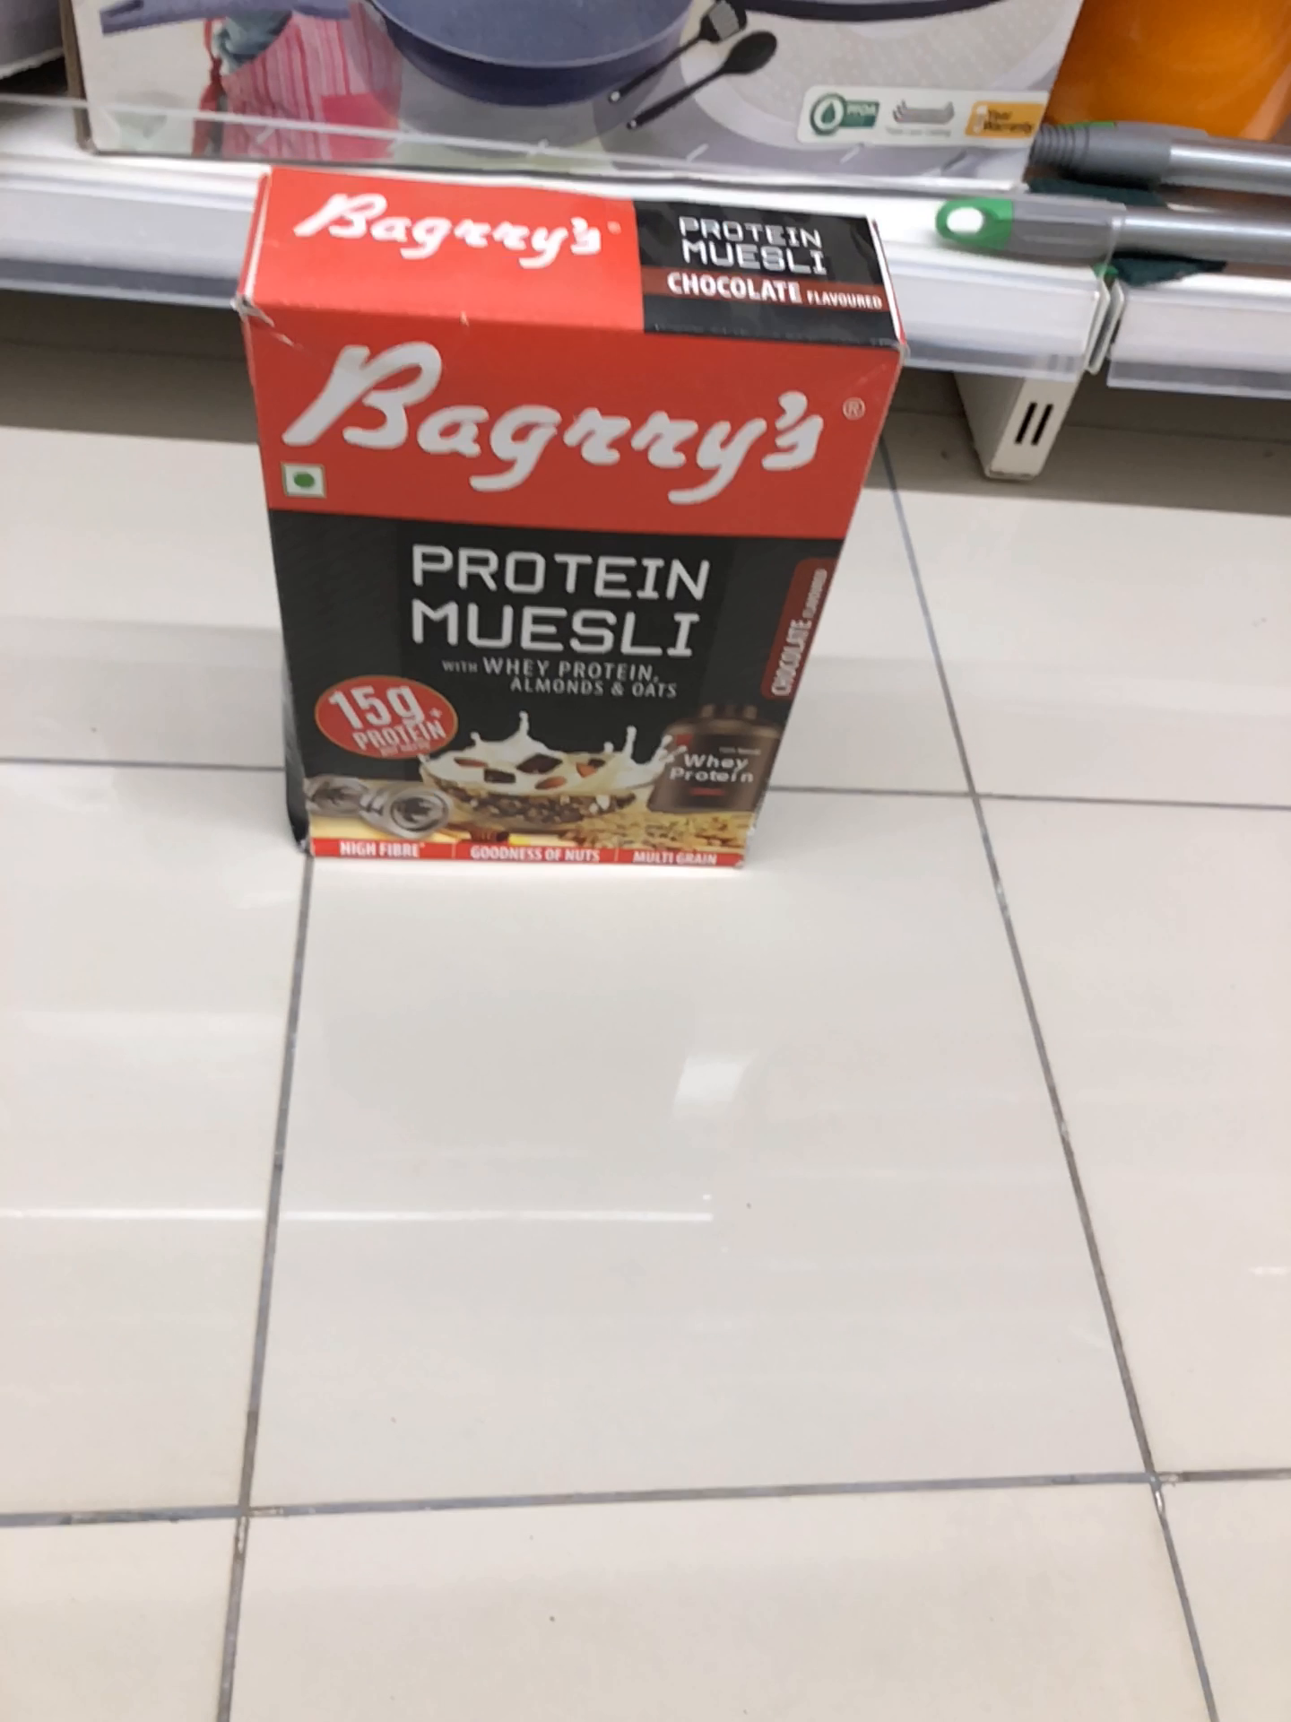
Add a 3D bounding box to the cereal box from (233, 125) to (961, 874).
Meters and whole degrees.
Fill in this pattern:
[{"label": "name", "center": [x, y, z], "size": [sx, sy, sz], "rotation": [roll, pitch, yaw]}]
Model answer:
[{"label": "cereal box", "center": [-0.026, -0.102, 0.489], "size": [0.190, 0.238, 0.080], "rotation": [2, 52, -8]}]
